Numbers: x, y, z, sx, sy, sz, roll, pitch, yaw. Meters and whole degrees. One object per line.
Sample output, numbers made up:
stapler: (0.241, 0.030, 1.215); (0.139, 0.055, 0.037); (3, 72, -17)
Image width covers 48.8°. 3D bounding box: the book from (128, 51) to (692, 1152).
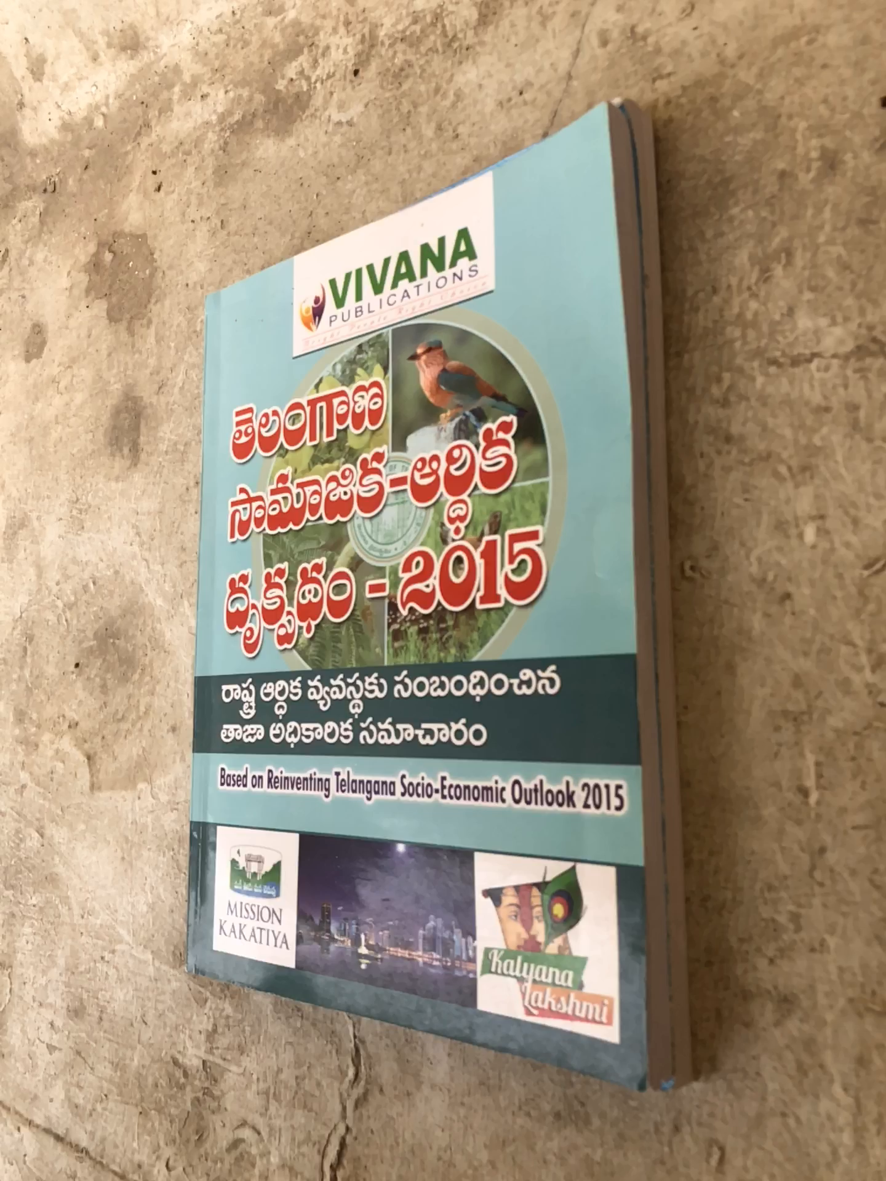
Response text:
book: (-0.025, 0.002, 0.313); (0.201, 0.030, 0.270); (-6, 80, 39)
